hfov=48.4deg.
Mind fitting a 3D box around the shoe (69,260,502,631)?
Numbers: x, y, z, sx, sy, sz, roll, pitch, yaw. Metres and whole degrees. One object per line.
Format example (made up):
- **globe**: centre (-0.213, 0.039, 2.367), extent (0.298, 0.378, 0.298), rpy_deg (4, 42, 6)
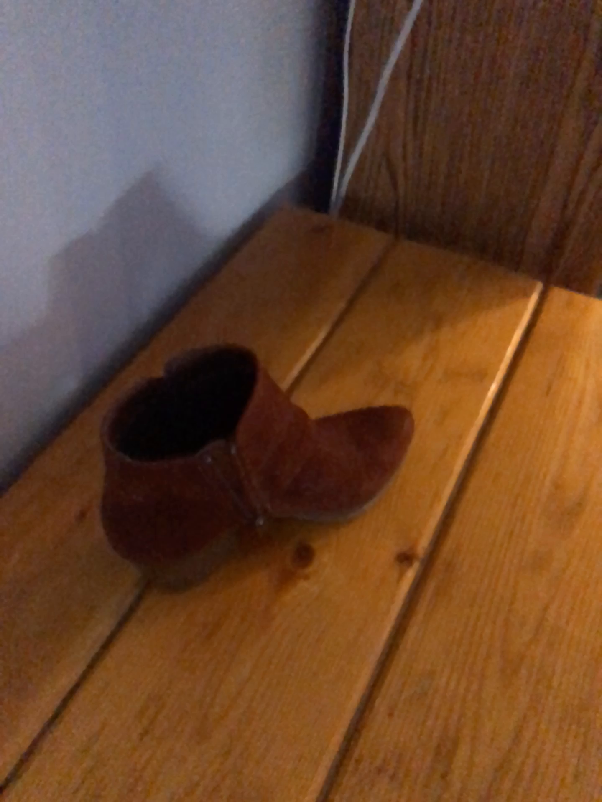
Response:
- **shoe**: centre (-0.005, 0.027, 0.459), extent (0.250, 0.150, 0.090), rpy_deg (-24, 54, -21)
